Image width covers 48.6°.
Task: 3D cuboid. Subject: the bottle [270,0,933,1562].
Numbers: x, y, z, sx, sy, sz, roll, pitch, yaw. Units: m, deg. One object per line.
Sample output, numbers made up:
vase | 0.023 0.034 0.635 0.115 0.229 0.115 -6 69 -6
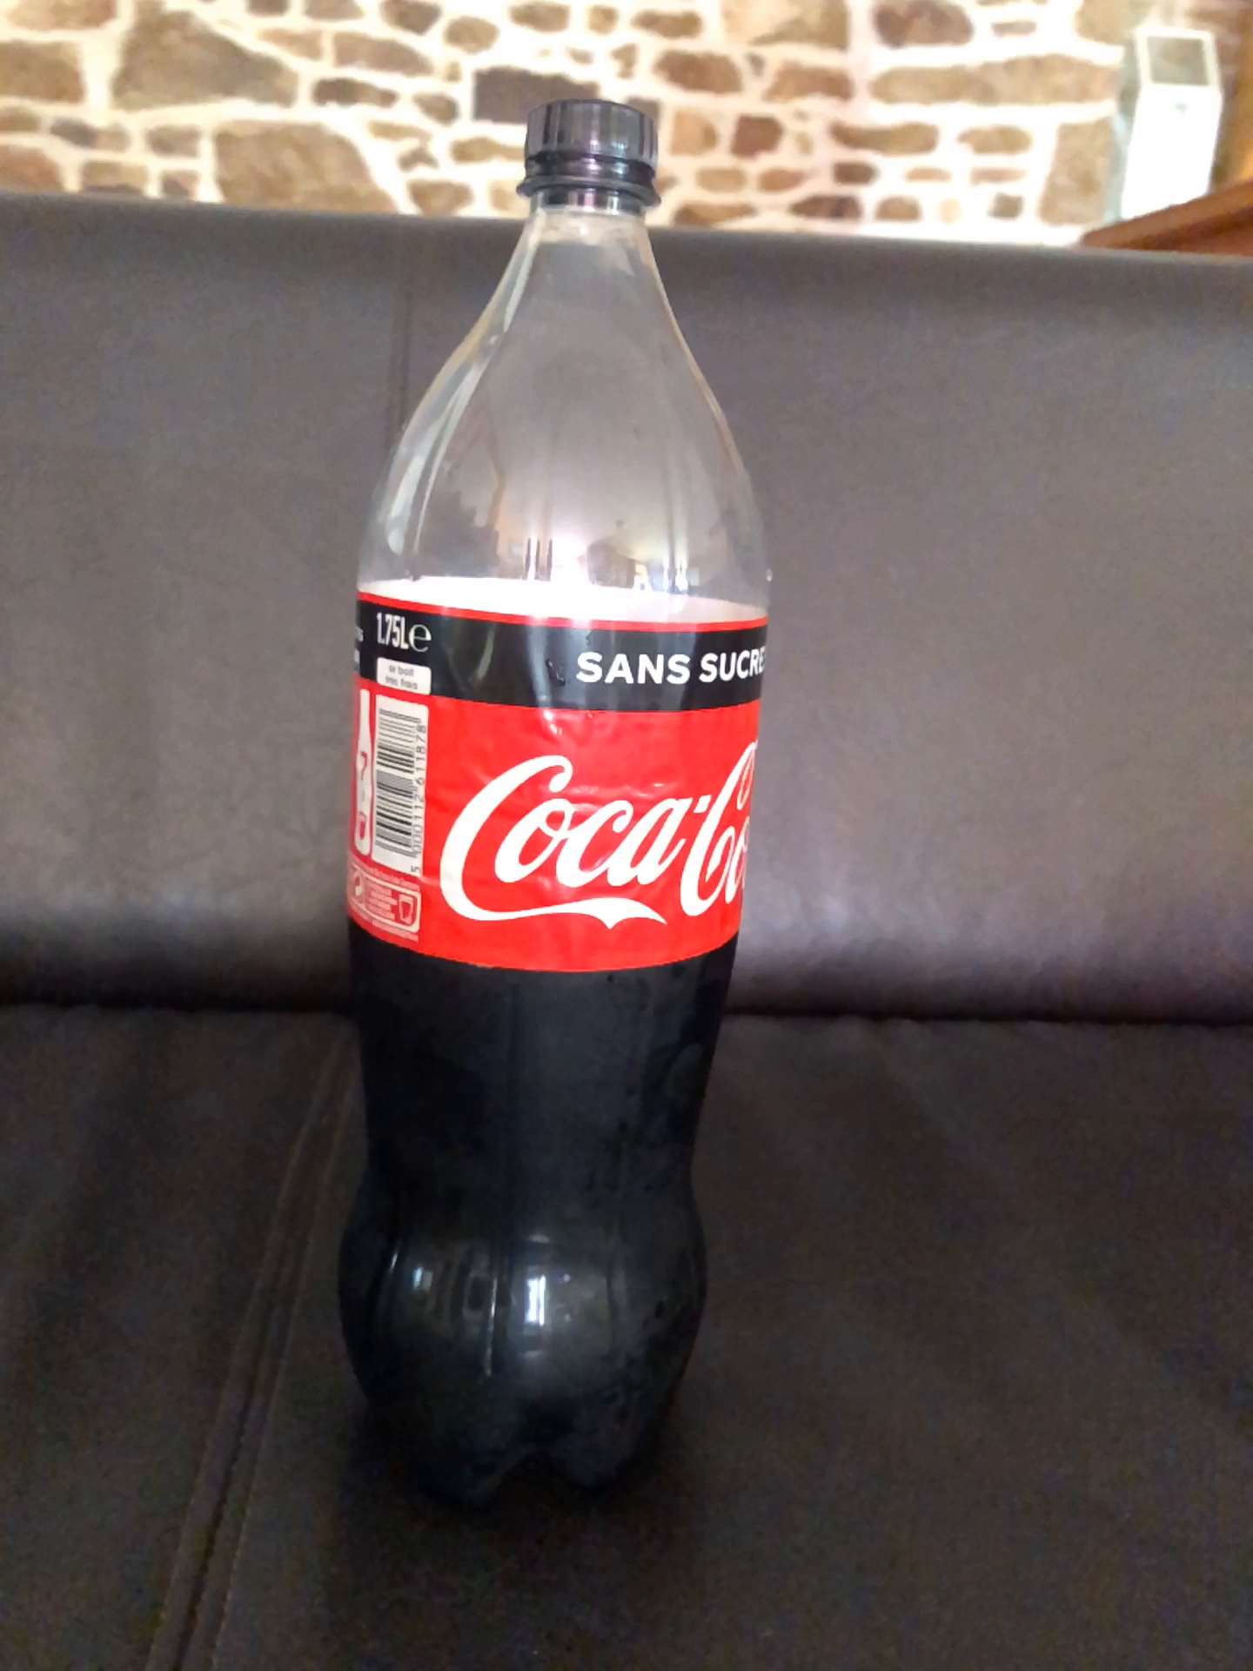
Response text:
bottle | -0.015 -0.009 0.341 0.100 0.319 0.100 4 15 -1
